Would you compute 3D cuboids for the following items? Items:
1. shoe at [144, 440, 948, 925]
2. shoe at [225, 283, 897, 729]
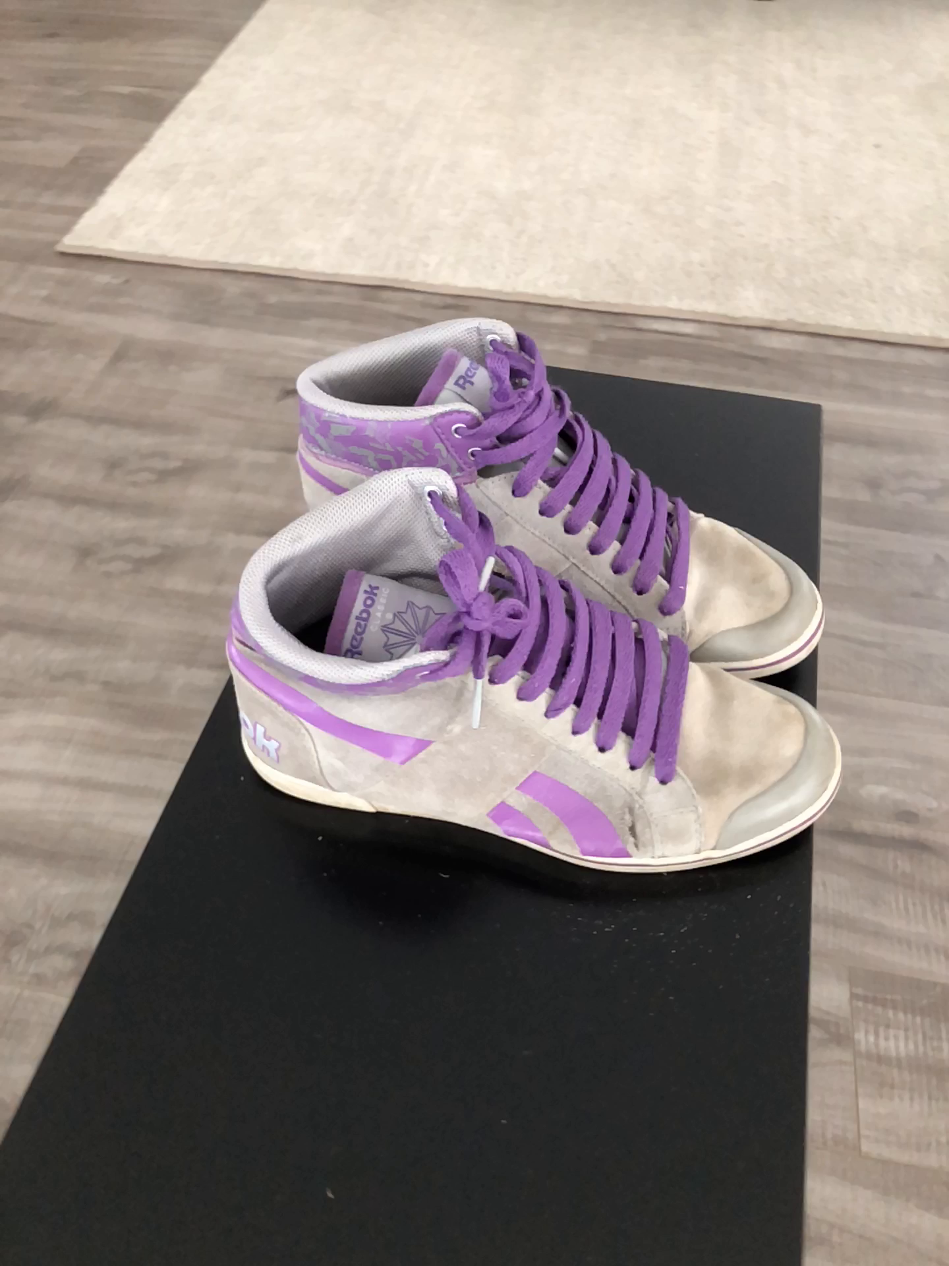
[{"bbox_3d":[0.027,0.019,0.377,0.240,0.120,0.100,5,49,4],"label":"shoe"},{"bbox_3d":[0.034,-0.055,0.438,0.240,0.110,0.090,13,50,11],"label":"shoe"}]
